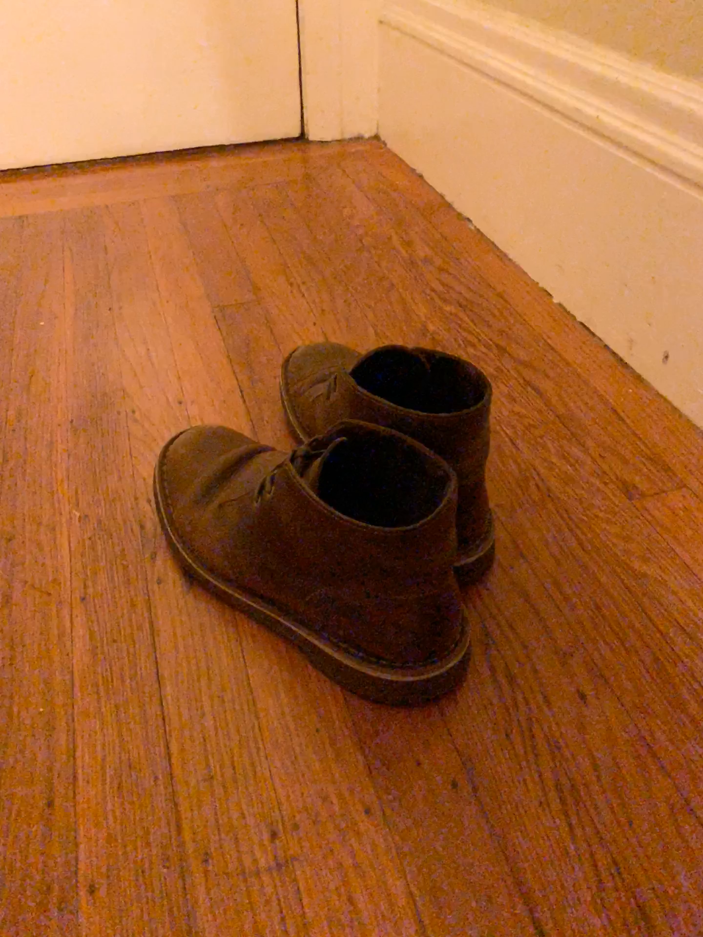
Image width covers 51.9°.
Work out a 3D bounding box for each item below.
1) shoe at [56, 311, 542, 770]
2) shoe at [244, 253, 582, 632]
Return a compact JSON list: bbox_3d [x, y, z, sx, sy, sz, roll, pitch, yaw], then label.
[{"bbox_3d":[-0.047,0.024,0.471,0.301,0.119,0.120,33,51,32],"label":"shoe"},{"bbox_3d":[0.026,-0.041,0.557,0.120,0.119,0.292,-17,44,-18],"label":"shoe"}]
